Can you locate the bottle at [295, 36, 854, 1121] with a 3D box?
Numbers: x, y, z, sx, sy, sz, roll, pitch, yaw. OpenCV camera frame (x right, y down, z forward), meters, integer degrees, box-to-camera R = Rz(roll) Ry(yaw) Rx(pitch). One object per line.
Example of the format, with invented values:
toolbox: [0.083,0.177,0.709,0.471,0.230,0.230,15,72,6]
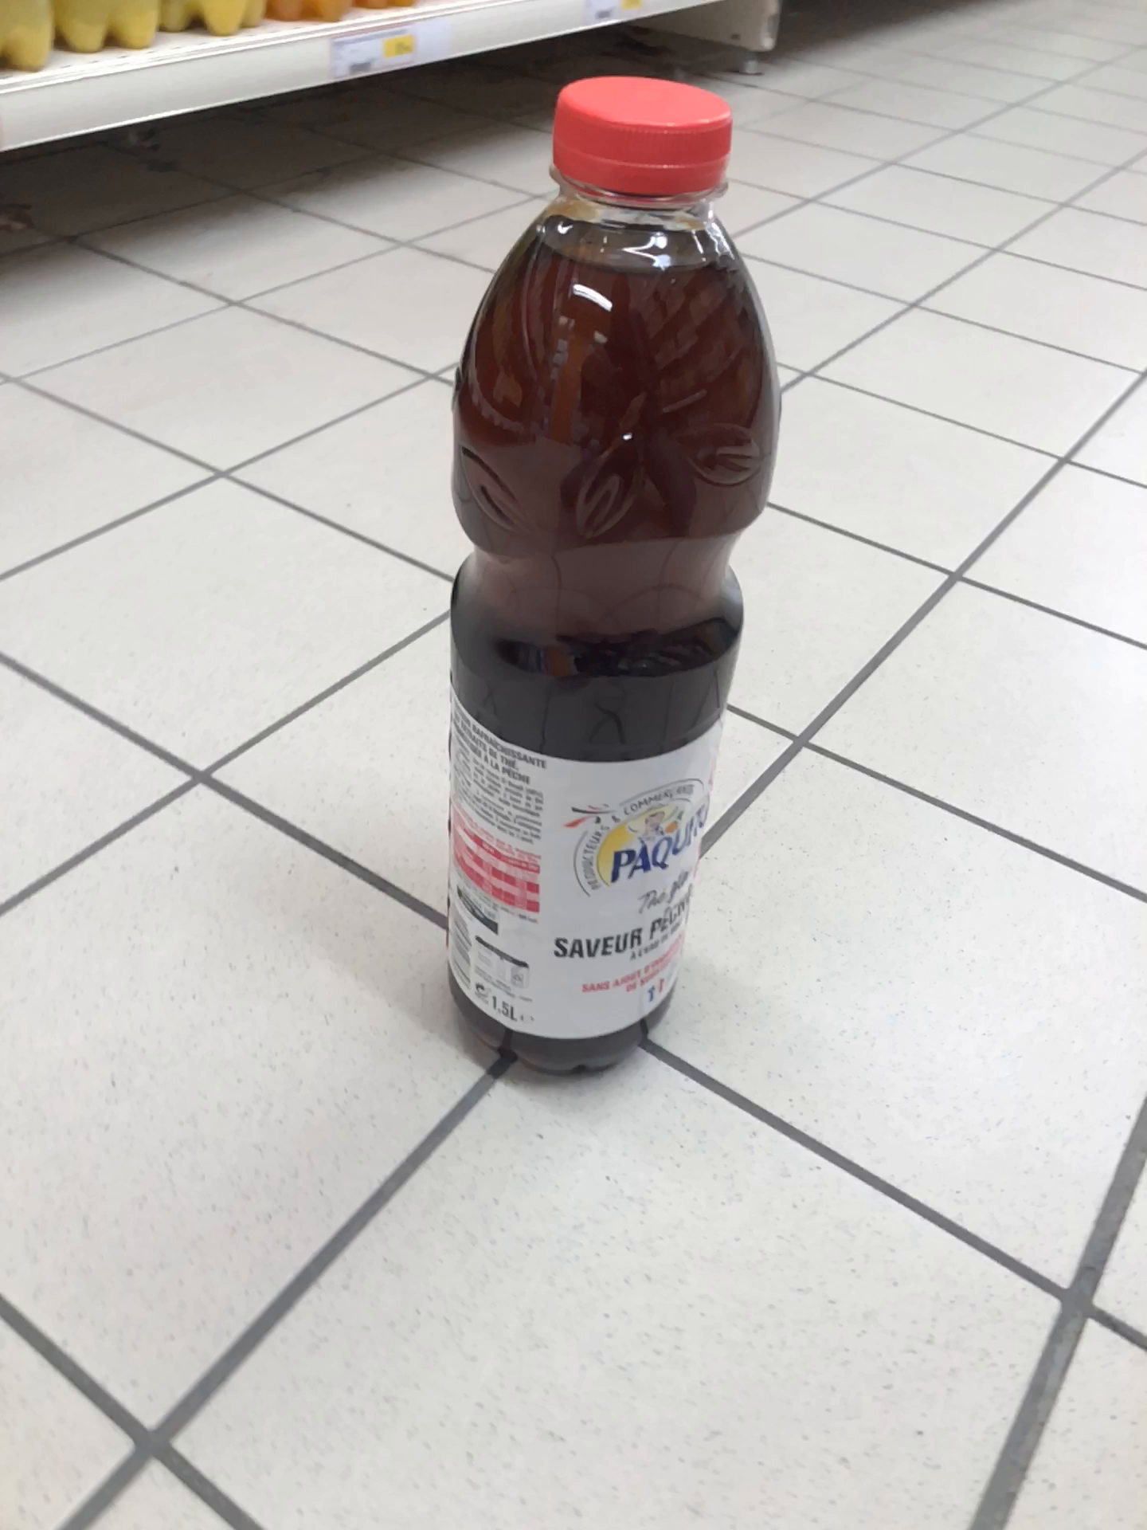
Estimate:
bottle: [-0.006,-0.036,0.368,0.090,0.288,0.091,3,39,-3]
